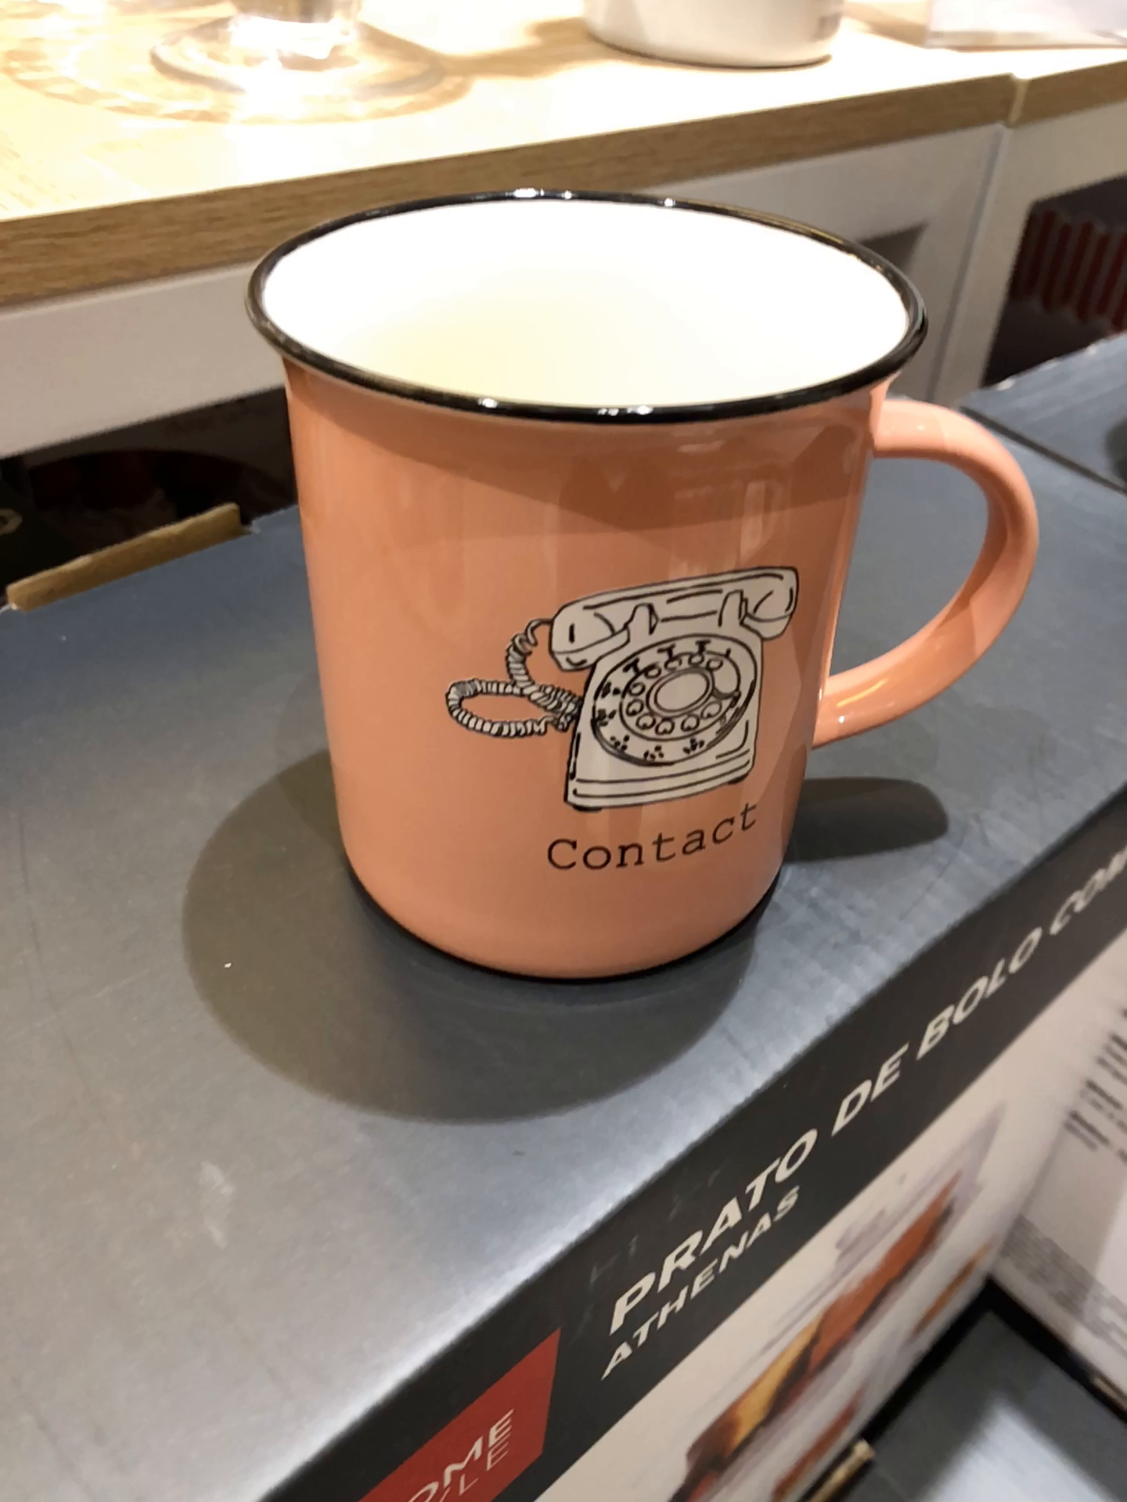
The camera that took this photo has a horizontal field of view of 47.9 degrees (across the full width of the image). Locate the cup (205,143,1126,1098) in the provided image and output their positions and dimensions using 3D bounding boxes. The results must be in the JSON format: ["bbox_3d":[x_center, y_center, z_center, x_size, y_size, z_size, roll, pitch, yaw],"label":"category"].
[{"bbox_3d":[0.016,-0.024,0.174,0.110,0.089,0.081,-8,41,-16],"label":"cup"}]
